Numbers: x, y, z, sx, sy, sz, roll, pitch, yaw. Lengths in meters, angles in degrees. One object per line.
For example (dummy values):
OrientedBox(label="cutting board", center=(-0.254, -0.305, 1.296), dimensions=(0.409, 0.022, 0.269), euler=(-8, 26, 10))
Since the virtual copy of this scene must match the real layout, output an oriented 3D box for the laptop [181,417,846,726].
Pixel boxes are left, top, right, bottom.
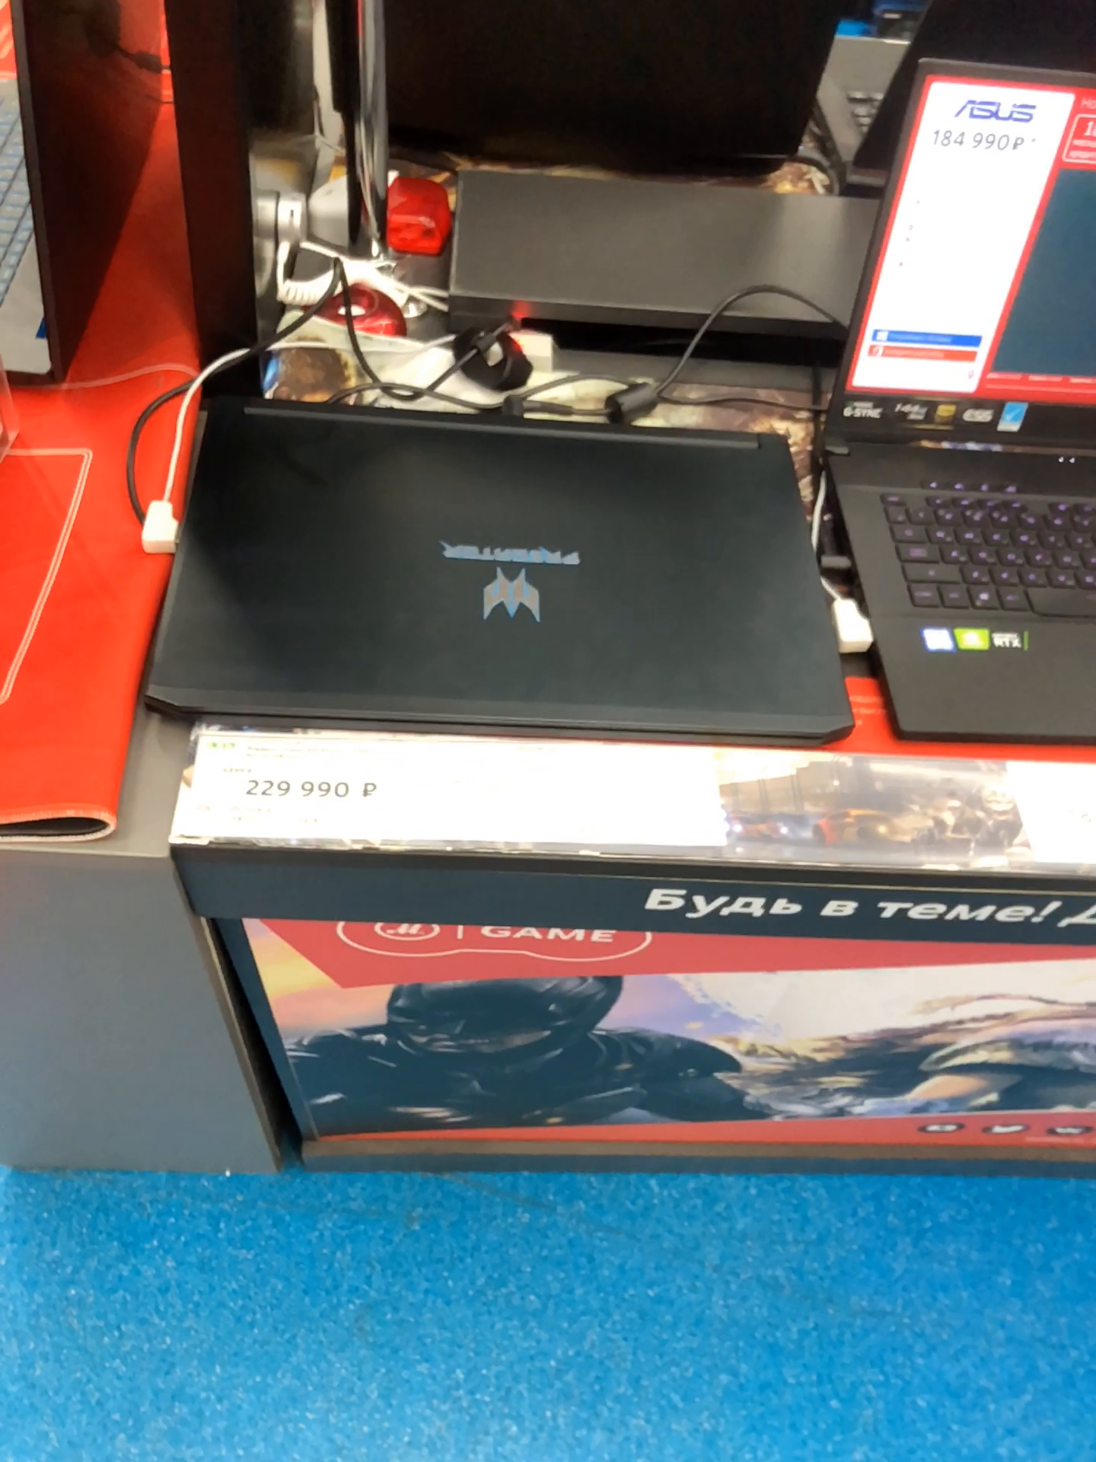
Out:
OrientedBox(label="laptop", center=(-0.017, -0.099, 0.710), dimensions=(0.354, 0.006, 0.222), euler=(2, 52, -7))
